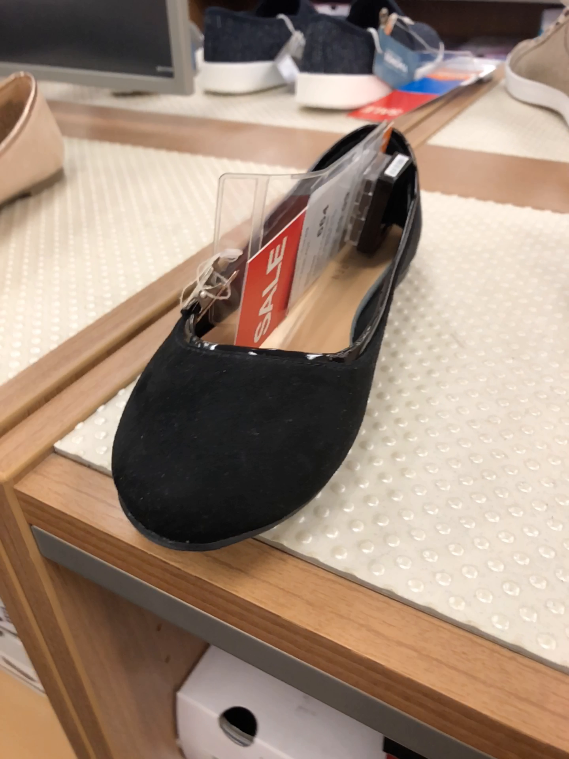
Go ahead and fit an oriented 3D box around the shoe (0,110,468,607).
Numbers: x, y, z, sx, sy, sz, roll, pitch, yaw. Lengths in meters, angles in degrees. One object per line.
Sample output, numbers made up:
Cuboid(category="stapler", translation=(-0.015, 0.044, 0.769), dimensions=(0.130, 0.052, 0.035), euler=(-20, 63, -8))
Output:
Cuboid(category="shoe", translation=(0.003, -0.041, 0.252), dimensions=(0.091, 0.064, 0.239), euler=(12, 38, 19))
